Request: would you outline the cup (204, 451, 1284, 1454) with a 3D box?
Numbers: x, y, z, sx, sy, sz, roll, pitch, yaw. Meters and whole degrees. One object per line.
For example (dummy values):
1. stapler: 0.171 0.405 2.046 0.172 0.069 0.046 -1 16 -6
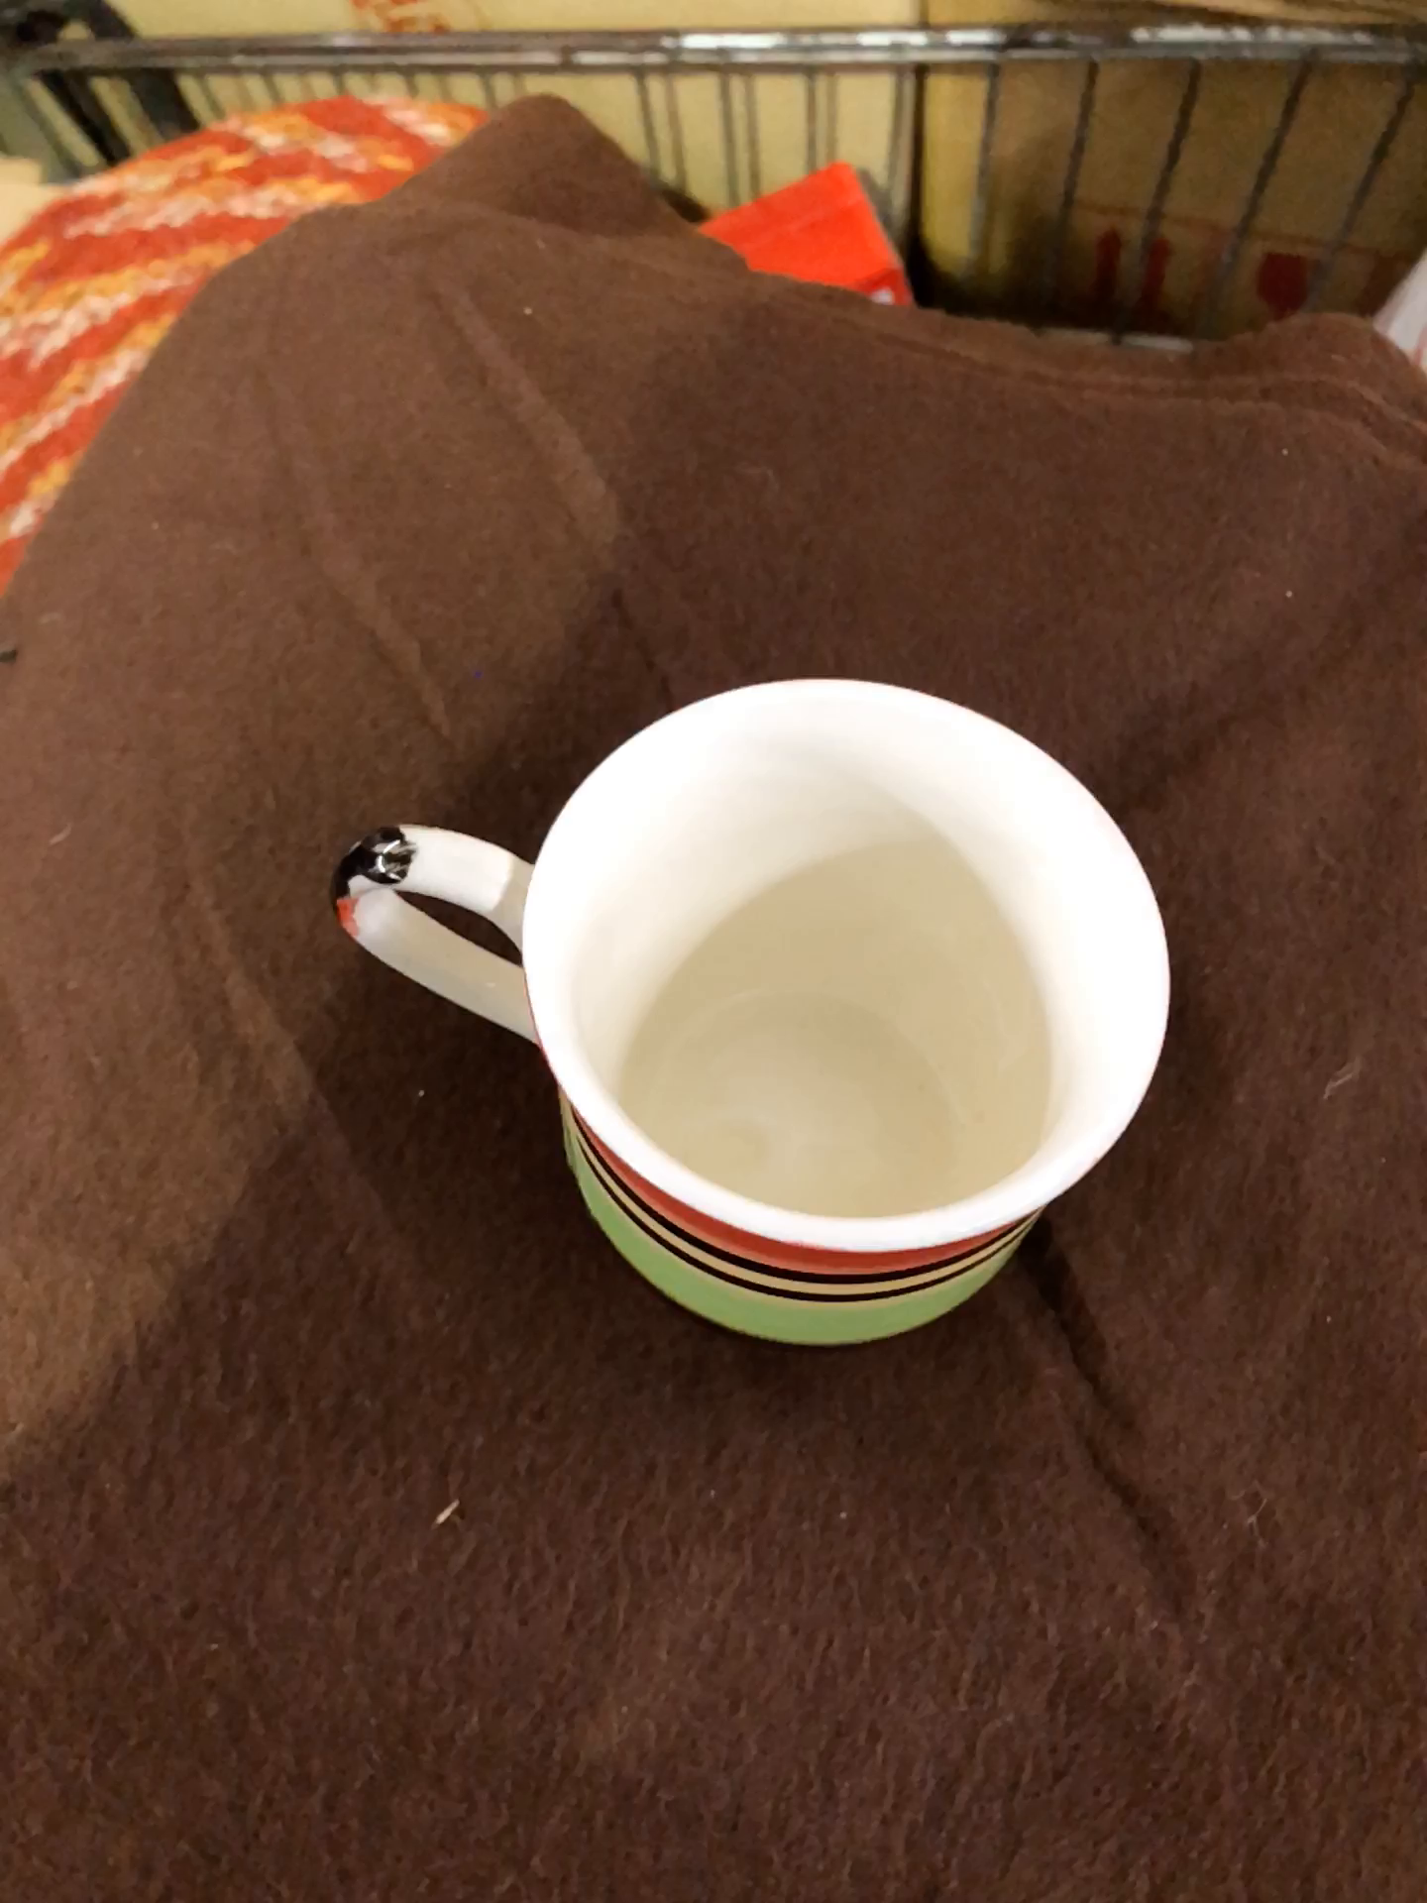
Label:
1. cup: 0.006 0.001 0.195 0.090 0.070 0.070 21 63 14
